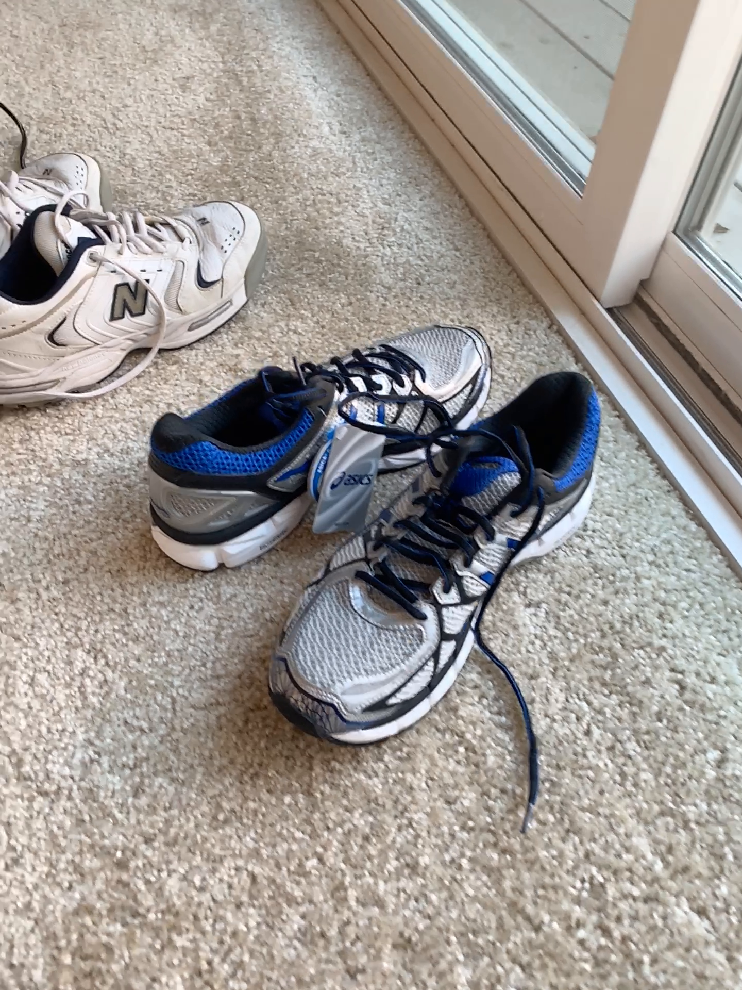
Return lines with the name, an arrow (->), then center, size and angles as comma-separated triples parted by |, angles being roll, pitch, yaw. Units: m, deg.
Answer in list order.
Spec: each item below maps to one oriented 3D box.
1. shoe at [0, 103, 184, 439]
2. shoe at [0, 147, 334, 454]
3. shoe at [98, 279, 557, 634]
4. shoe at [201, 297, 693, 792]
shoe -> -0.315, -0.226, 0.726 | 0.120, 0.129, 0.331 | 15, 52, 8
shoe -> -0.194, -0.182, 0.660 | 0.331, 0.090, 0.120 | -37, 61, -28
shoe -> -0.020, -0.045, 0.597 | 0.340, 0.090, 0.110 | -31, 59, -25
shoe -> 0.060, 0.009, 0.471 | 0.110, 0.090, 0.321 | 35, 58, 23
